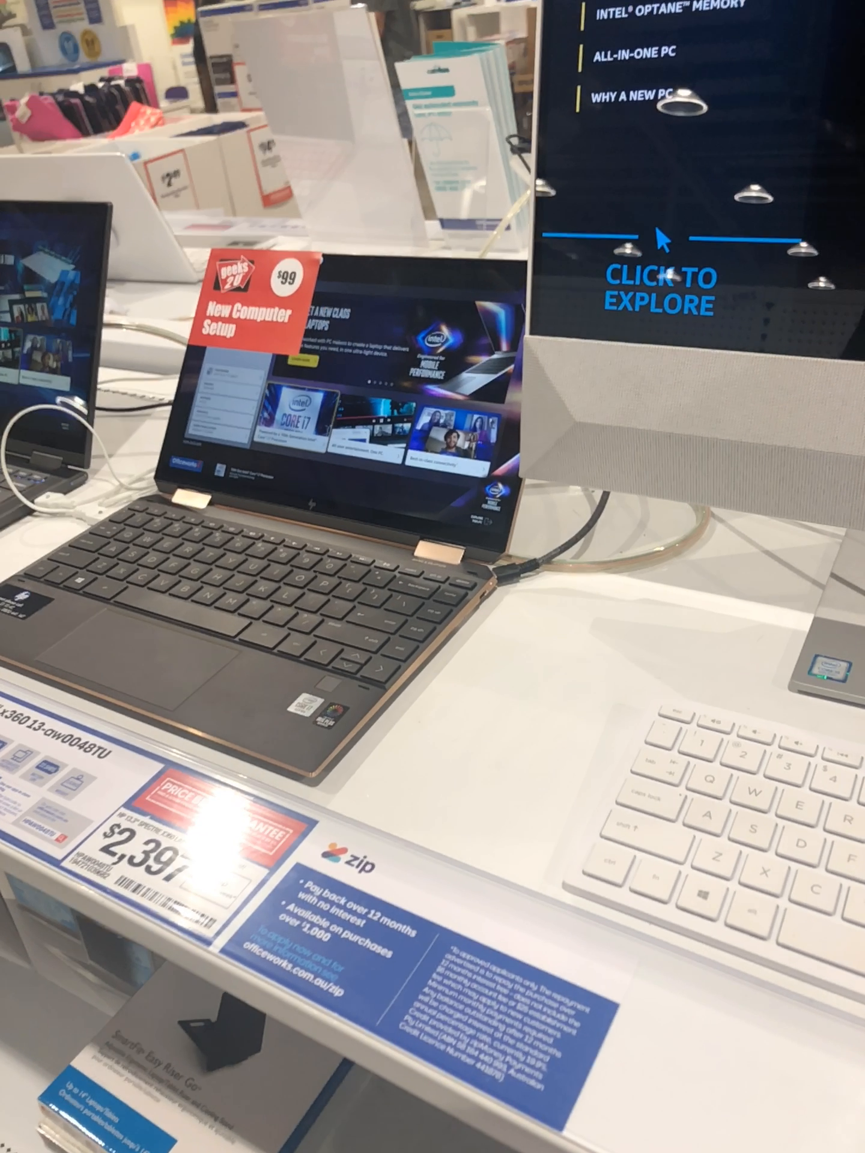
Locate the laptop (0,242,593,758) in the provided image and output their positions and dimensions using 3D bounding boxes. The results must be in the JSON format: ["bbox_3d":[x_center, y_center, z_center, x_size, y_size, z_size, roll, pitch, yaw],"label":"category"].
[{"bbox_3d":[-0.104,-0.086,0.591,0.298,0.147,0.315,12,37,30],"label":"laptop"}]
